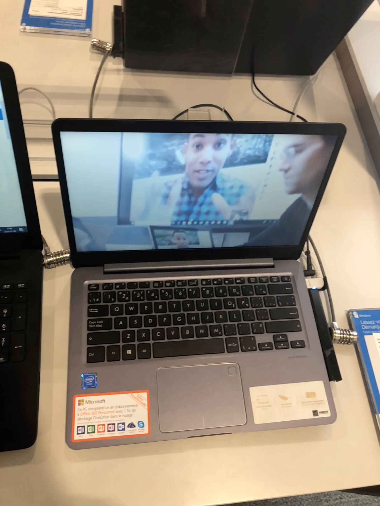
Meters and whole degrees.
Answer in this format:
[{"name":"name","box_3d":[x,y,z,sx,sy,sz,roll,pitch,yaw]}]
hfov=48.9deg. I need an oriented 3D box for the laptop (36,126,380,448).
[{"name":"laptop","box_3d":[0.022,0.038,0.471,0.316,0.197,0.291,-2,64,-9]}]
